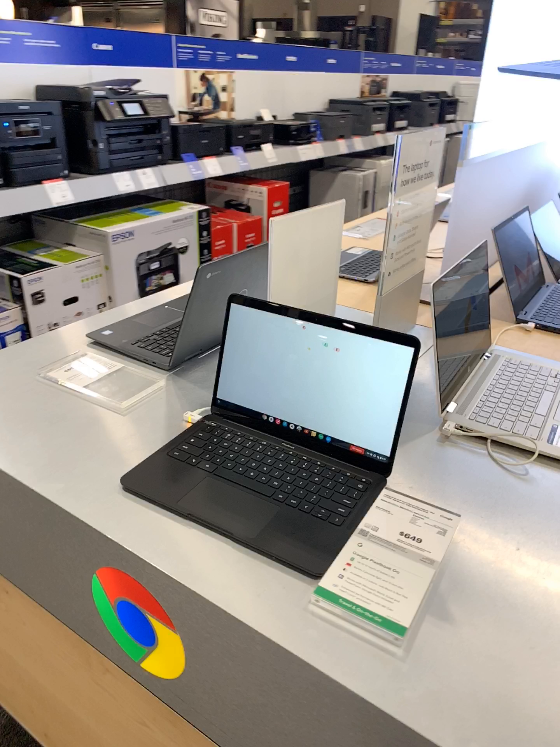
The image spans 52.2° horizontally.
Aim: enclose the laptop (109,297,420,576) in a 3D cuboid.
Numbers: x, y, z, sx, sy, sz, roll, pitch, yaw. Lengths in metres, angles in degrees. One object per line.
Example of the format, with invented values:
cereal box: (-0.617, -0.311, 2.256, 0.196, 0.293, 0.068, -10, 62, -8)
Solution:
laptop: (-0.014, 0.053, 0.746, 0.294, 0.180, 0.254, 17, 32, 26)
